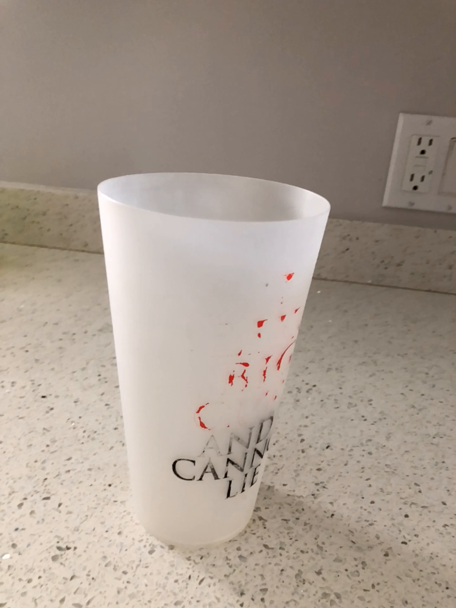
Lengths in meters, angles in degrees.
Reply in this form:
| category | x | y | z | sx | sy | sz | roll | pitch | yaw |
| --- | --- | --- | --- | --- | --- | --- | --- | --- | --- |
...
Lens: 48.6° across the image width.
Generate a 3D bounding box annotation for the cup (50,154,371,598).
| category | x | y | z | sx | sy | sz | roll | pitch | yaw |
| --- | --- | --- | --- | --- | --- | --- | --- | --- | --- |
| cup | -0.013 | 0.022 | 0.243 | 0.096 | 0.166 | 0.094 | 3 | 23 | -1 |
